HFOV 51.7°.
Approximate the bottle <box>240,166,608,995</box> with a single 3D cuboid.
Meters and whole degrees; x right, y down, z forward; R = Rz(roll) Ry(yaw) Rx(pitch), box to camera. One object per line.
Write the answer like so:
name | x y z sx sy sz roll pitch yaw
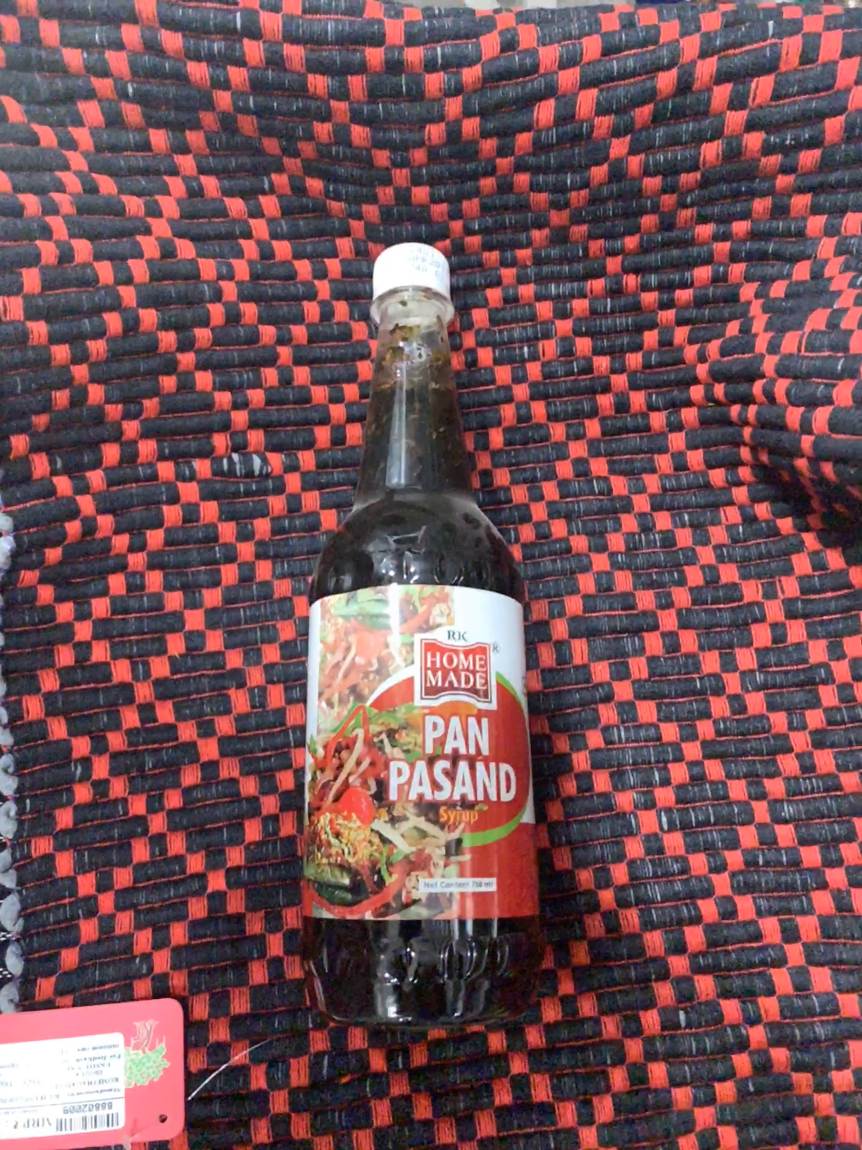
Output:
bottle | -0.002 -0.009 0.312 0.090 0.080 0.280 -1 65 1
